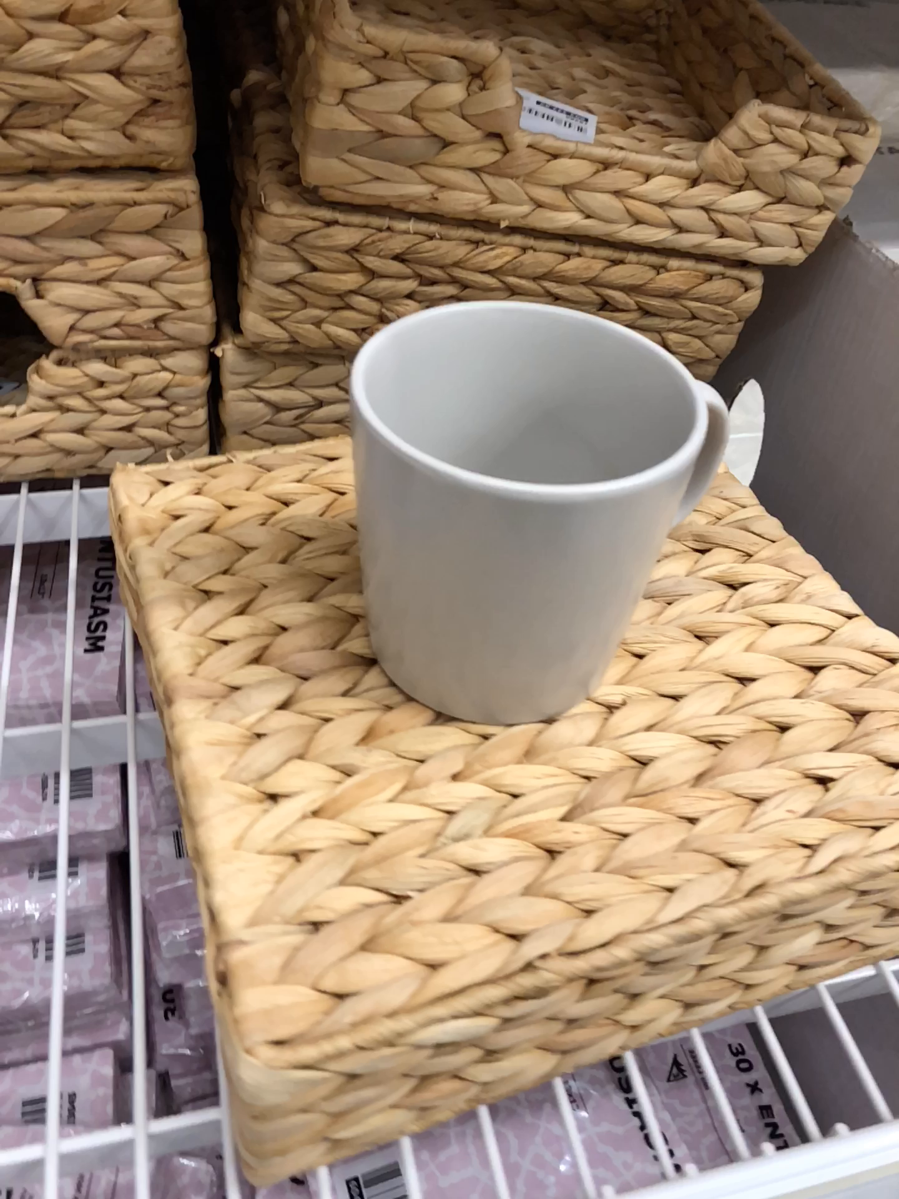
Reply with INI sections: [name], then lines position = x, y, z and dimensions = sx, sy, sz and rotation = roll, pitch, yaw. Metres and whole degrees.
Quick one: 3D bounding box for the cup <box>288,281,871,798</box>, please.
[cup]
position = 0.027, -0.022, 0.282
dimensions = 0.120, 0.090, 0.090
rotation = -12, 44, -19
